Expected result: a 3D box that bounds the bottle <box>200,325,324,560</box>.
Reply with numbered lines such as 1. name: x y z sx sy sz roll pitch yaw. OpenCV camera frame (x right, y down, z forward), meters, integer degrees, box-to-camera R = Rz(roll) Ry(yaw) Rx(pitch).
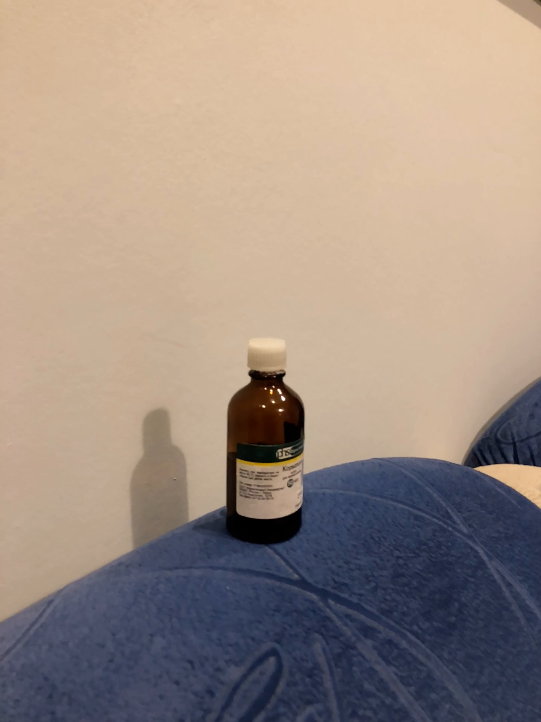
1. bottle: -0.003 0.036 0.294 0.040 0.100 0.045 9 14 40
